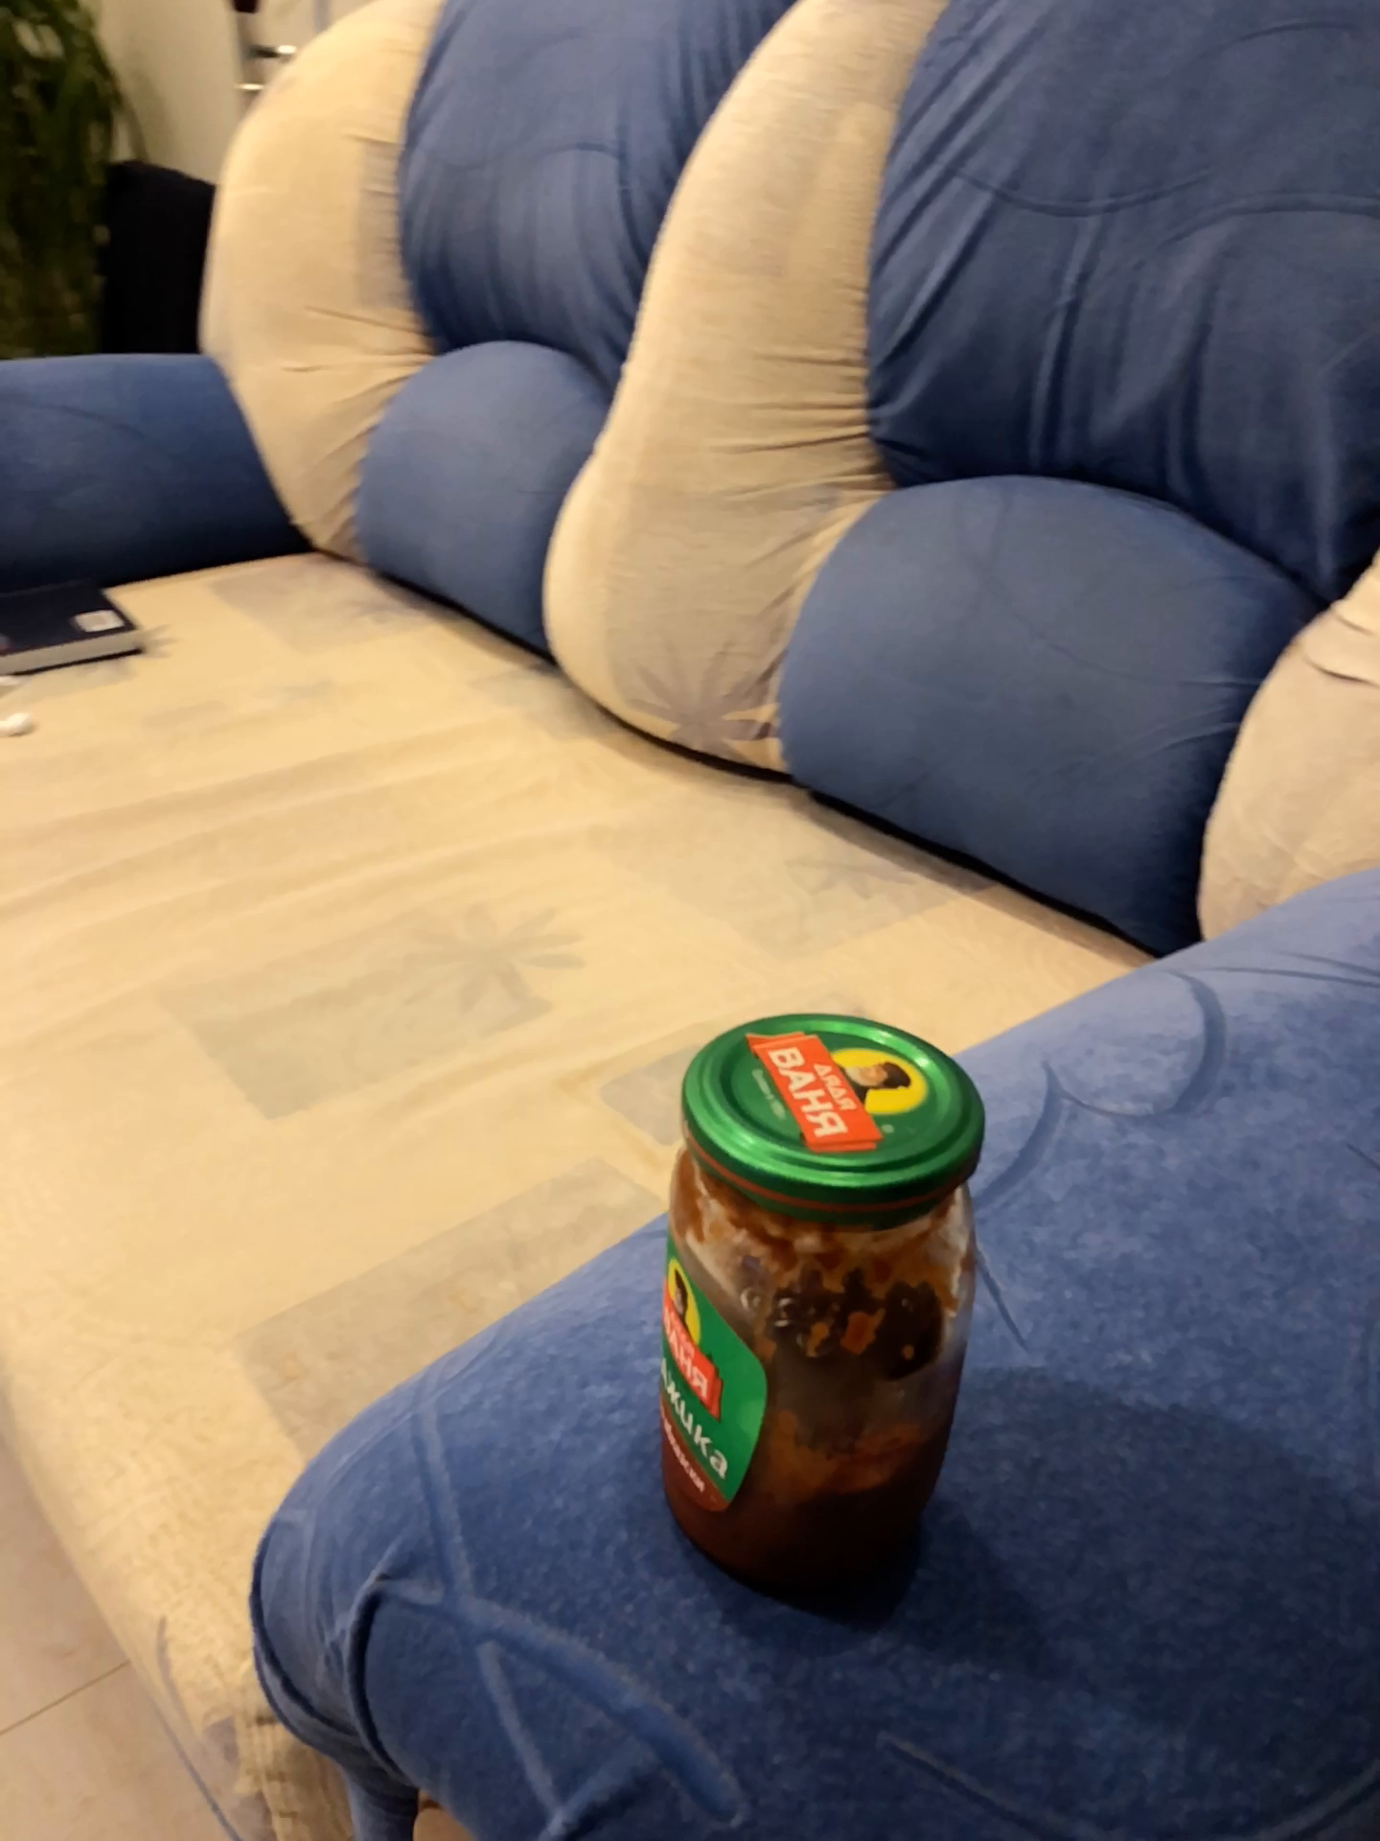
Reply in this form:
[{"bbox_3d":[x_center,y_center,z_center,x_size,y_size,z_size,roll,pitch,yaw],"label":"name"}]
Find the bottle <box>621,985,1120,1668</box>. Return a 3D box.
[{"bbox_3d":[0.025,0.069,0.267,0.060,0.092,0.060,3,27,-2],"label":"bottle"}]
